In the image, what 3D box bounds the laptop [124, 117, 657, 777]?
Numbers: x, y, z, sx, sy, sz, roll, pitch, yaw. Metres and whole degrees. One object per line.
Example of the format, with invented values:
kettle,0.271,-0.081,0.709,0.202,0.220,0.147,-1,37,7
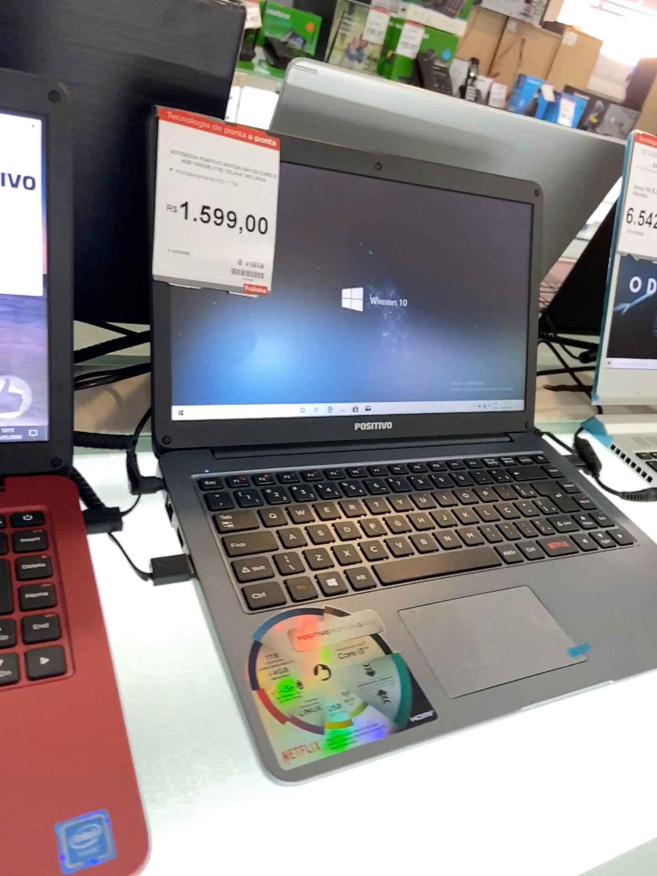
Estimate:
laptop,0.075,-0.036,0.414,0.320,0.171,0.324,-2,37,-28
